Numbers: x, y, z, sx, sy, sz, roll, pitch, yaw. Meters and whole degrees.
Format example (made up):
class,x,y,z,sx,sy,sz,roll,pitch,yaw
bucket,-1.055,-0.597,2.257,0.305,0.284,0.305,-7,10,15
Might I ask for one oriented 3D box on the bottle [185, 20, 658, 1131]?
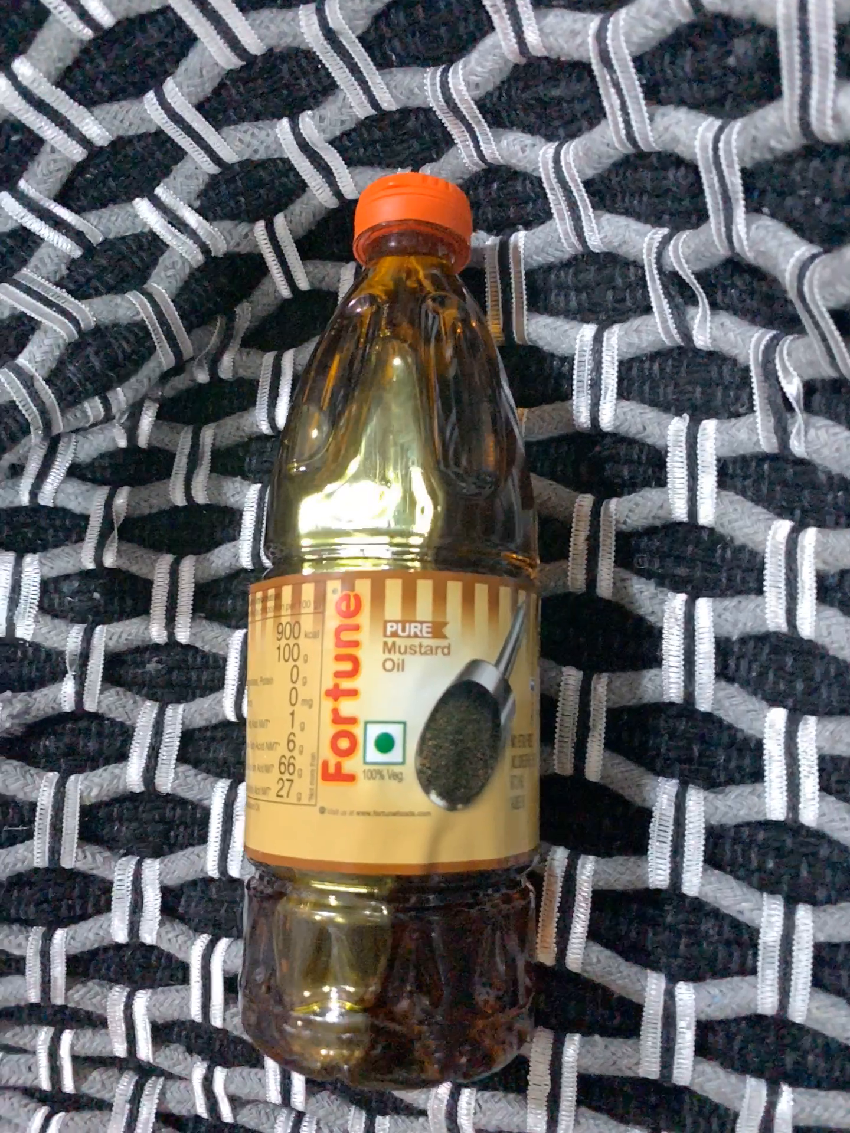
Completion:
class,x,y,z,sx,sy,sz,roll,pitch,yaw
bottle,-0.002,-0.001,0.222,0.080,0.080,0.220,157,118,-62
